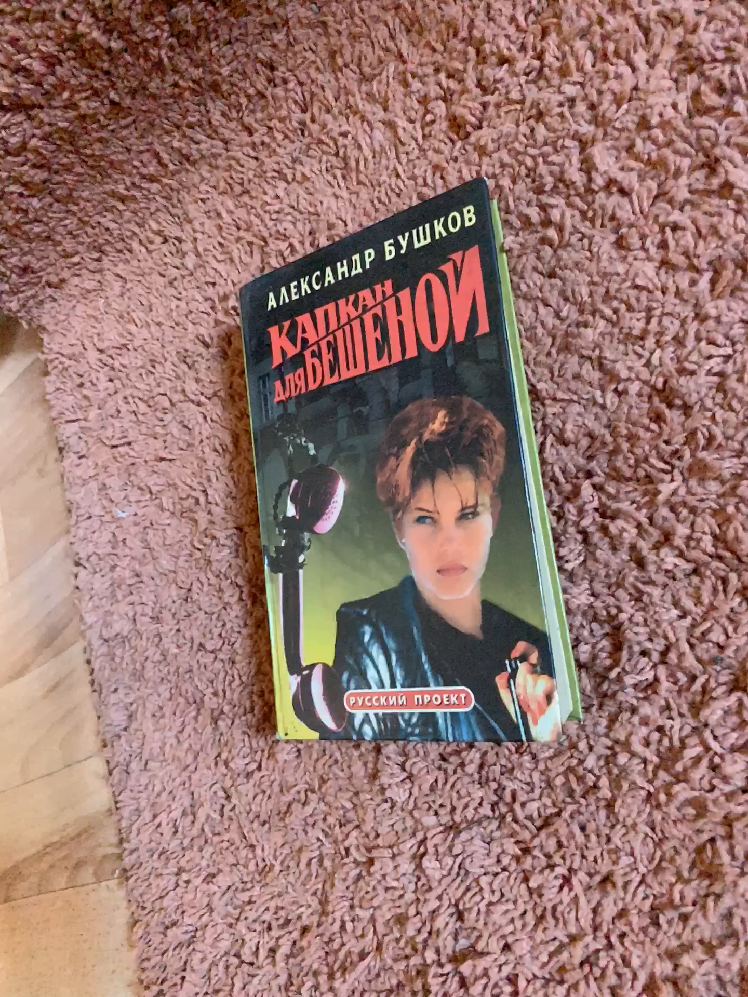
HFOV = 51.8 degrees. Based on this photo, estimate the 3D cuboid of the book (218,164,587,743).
[{"bbox_3d":[0.002,-0.008,0.294,0.125,0.027,0.190,-12,81,35],"label":"book"}]
